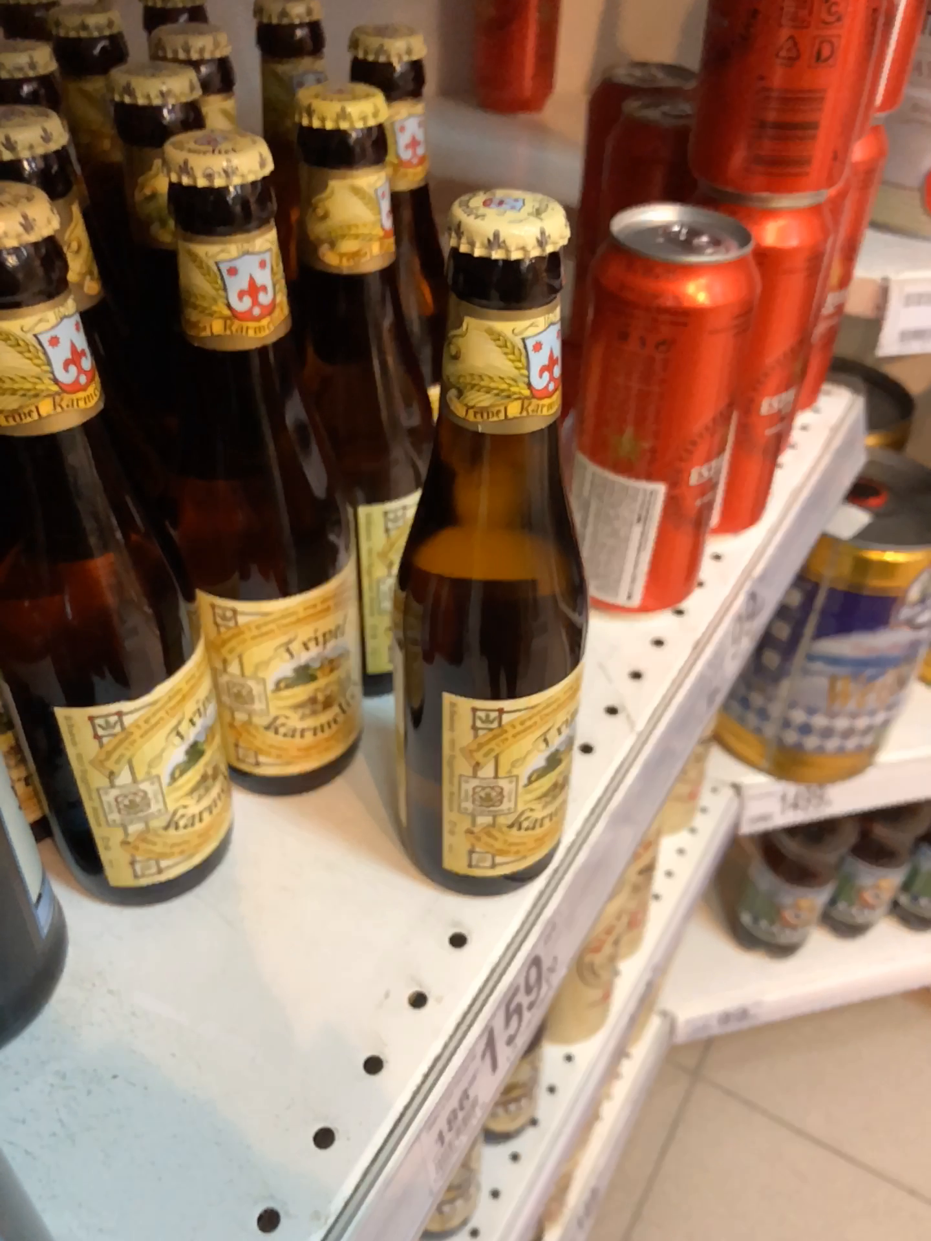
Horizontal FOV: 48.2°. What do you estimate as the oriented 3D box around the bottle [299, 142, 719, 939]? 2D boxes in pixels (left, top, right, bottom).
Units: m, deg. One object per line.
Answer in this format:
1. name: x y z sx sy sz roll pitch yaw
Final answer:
1. bottle: 0.008 -0.011 0.308 0.070 0.219 0.070 2 40 -1
